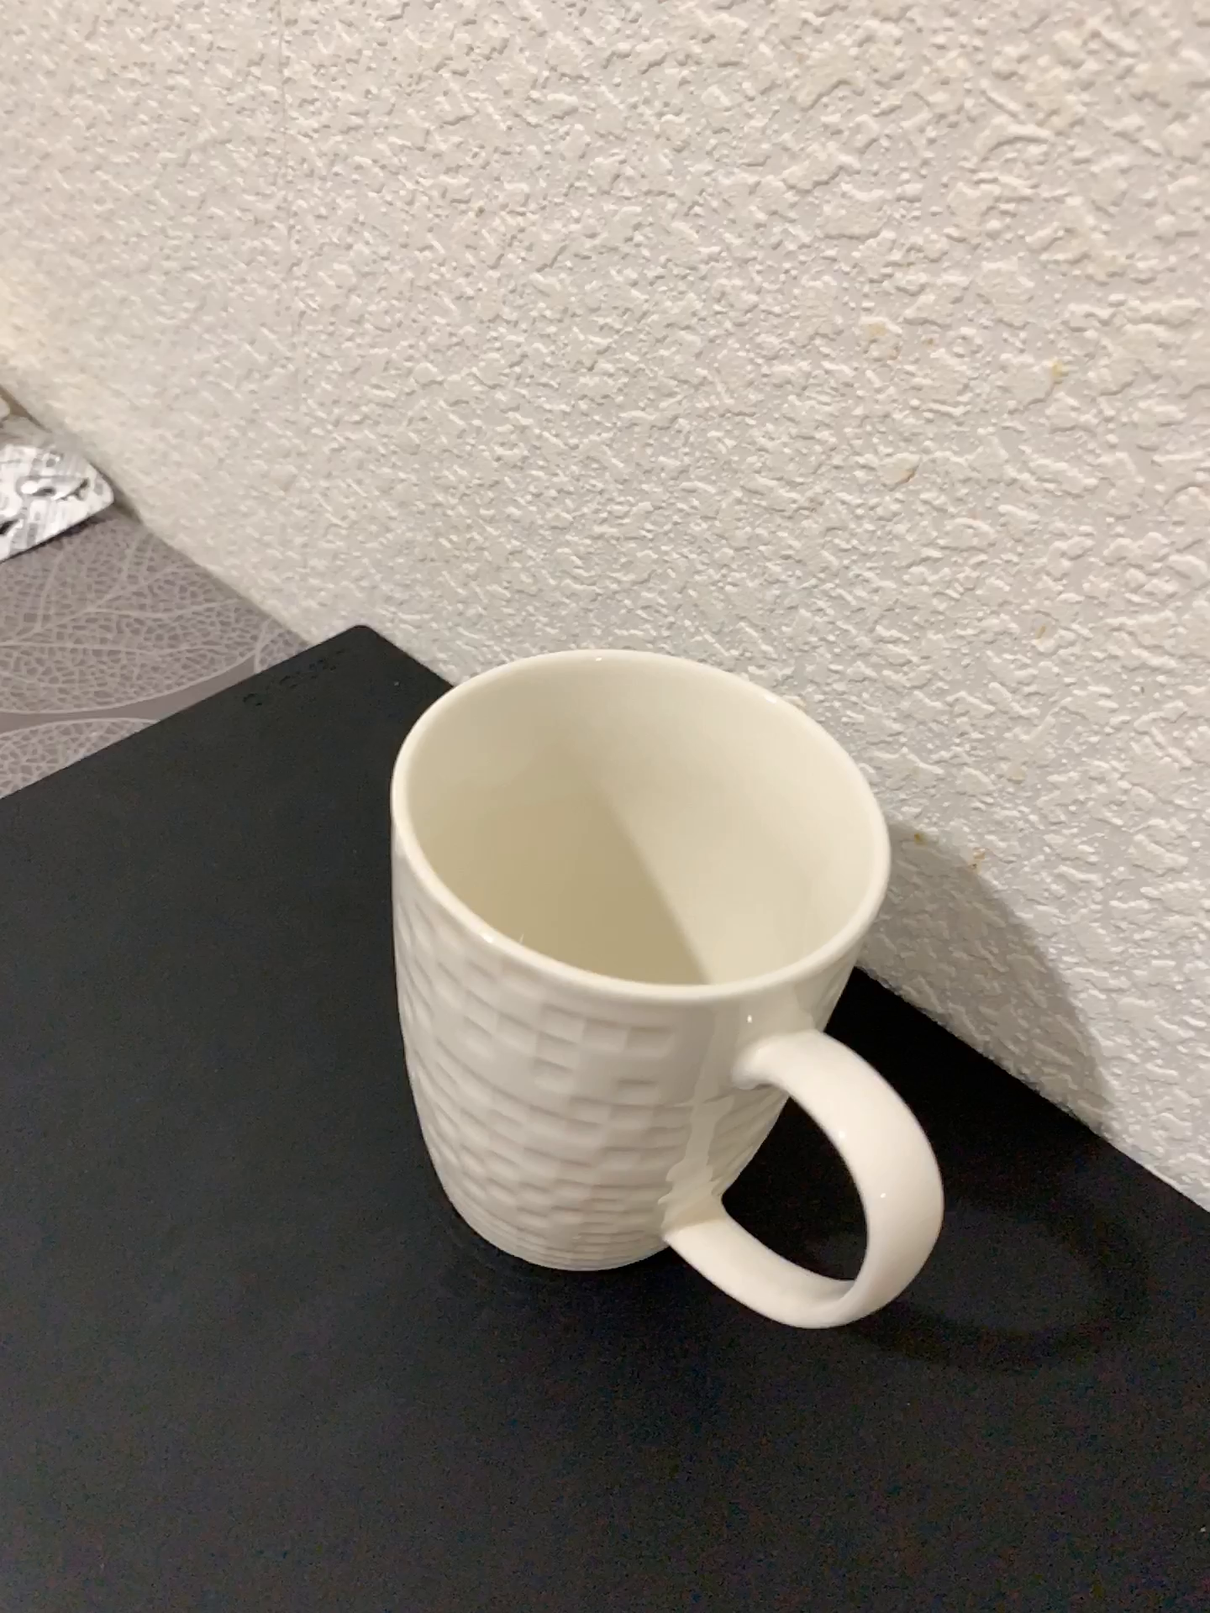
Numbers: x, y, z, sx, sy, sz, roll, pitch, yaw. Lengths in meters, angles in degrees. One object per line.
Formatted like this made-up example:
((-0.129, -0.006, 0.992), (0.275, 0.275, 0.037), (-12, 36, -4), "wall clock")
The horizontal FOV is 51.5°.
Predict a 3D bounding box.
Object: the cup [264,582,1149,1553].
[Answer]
((0.008, 0.043, 0.235), (0.081, 0.105, 0.120), (-29, 55, -32), "cup")
